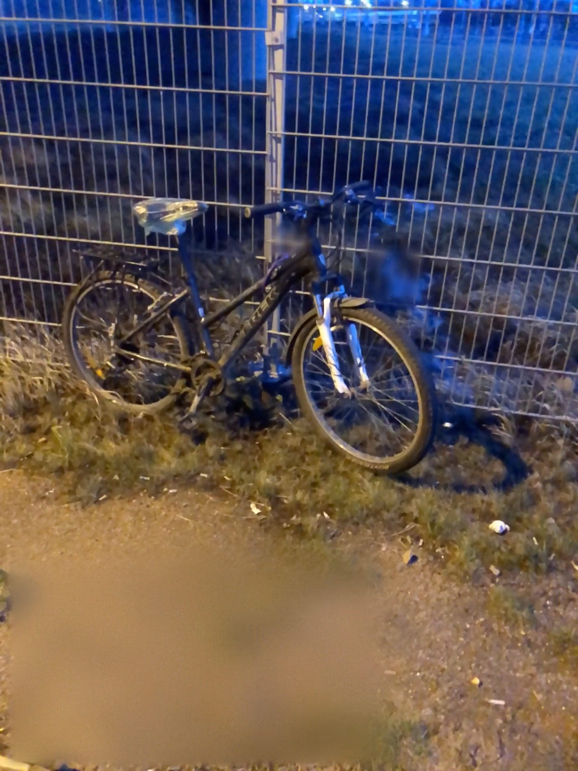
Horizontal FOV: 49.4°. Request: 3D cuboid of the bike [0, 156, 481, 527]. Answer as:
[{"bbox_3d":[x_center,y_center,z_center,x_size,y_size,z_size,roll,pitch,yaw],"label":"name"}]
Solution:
[{"bbox_3d":[-0.221,-0.261,2.311,1.585,0.947,0.572,14,31,24],"label":"bike"}]
